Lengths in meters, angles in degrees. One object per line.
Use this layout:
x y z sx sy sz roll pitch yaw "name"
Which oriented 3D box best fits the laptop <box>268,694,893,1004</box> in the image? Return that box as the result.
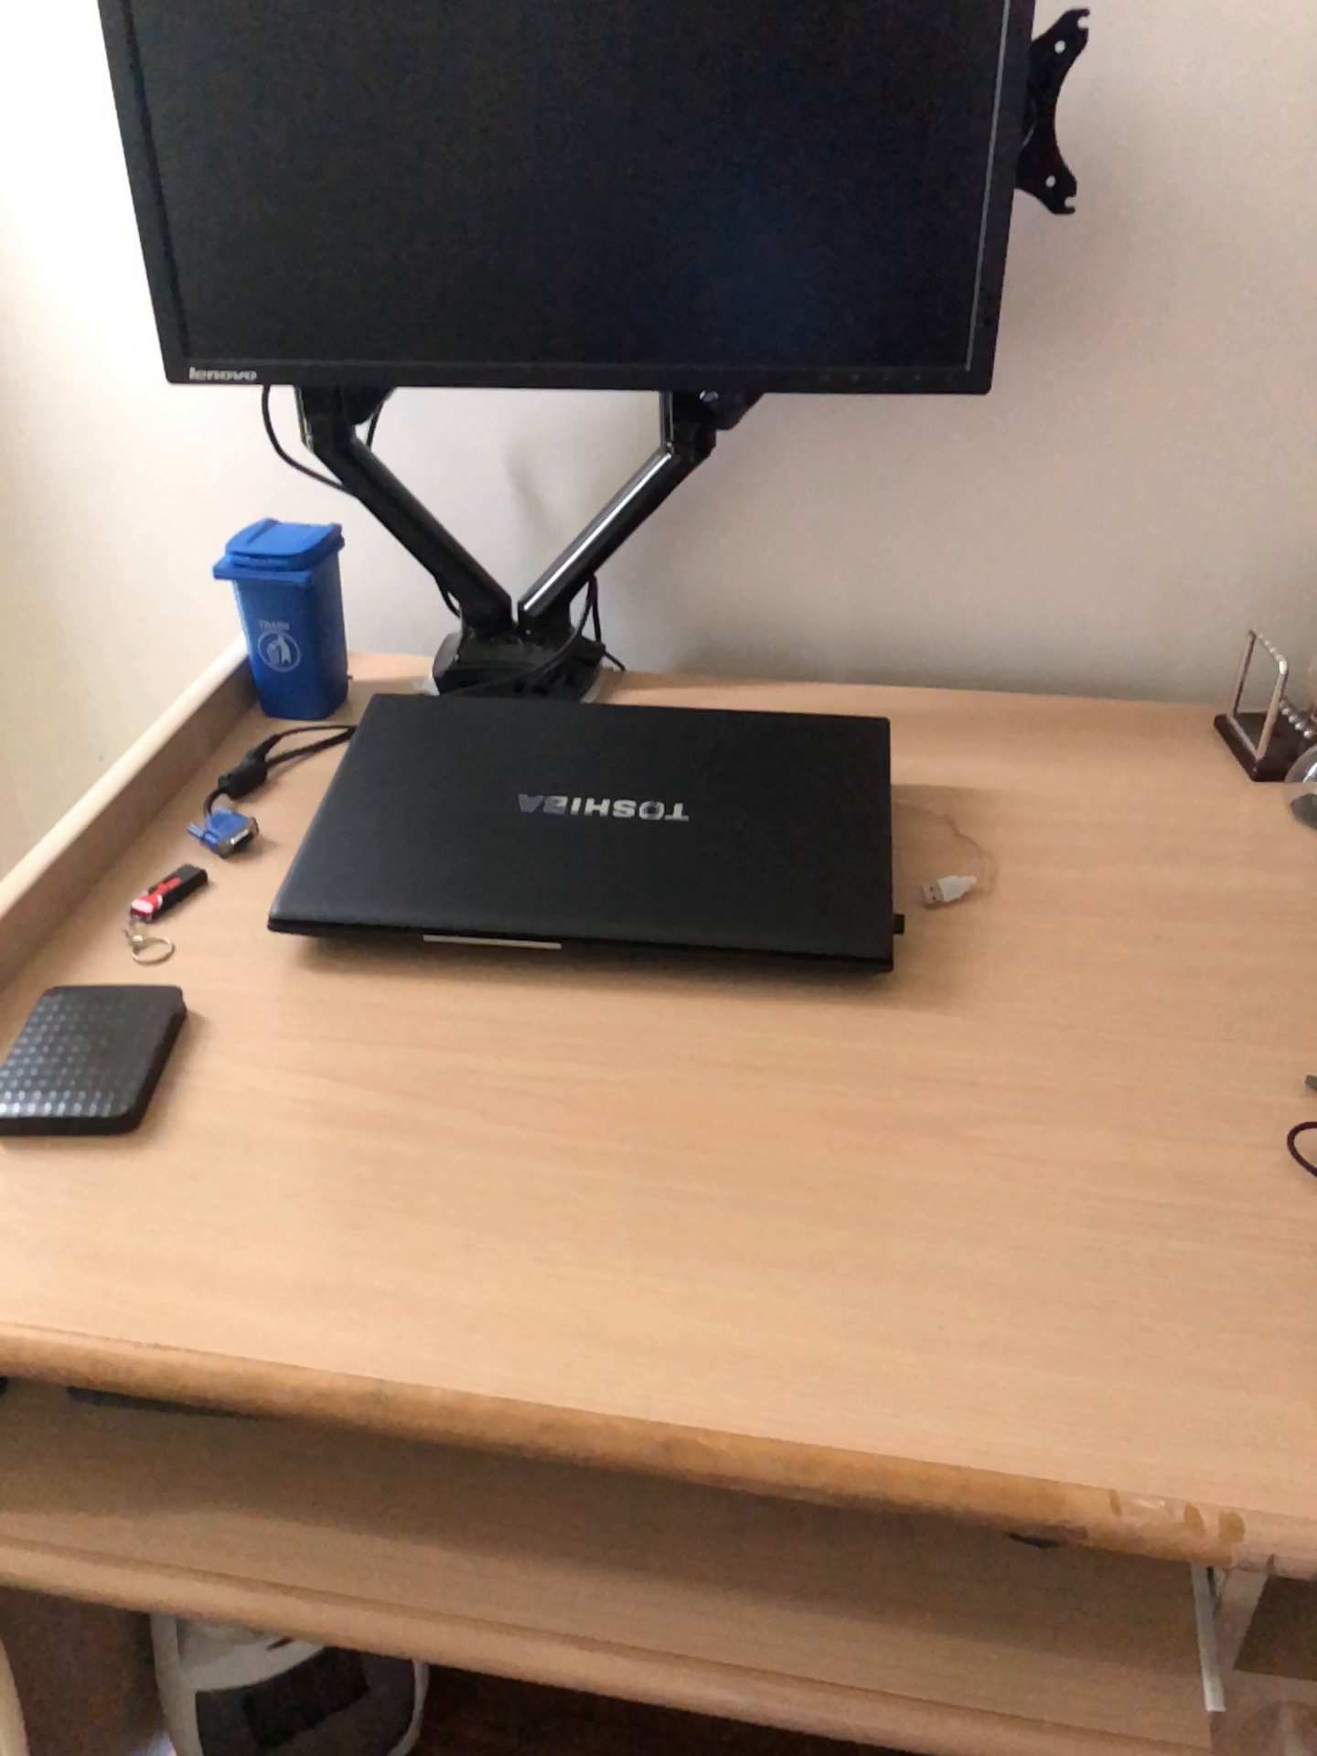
-0.037 -0.031 0.975 0.380 0.029 0.258 3 40 6 "laptop"
